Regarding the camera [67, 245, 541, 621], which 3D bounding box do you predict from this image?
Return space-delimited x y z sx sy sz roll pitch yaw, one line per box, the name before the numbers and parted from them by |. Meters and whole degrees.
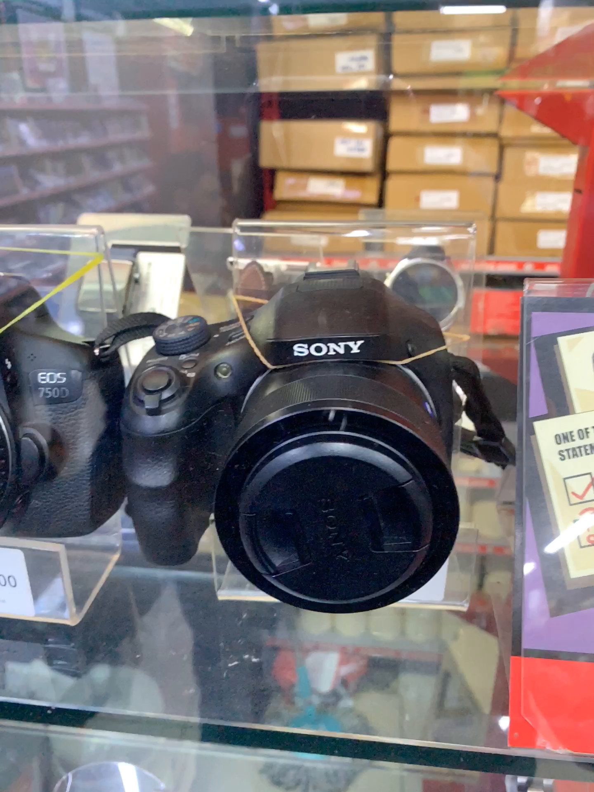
camera | 0.003 0.006 0.218 0.120 0.100 0.090 0 24 3
